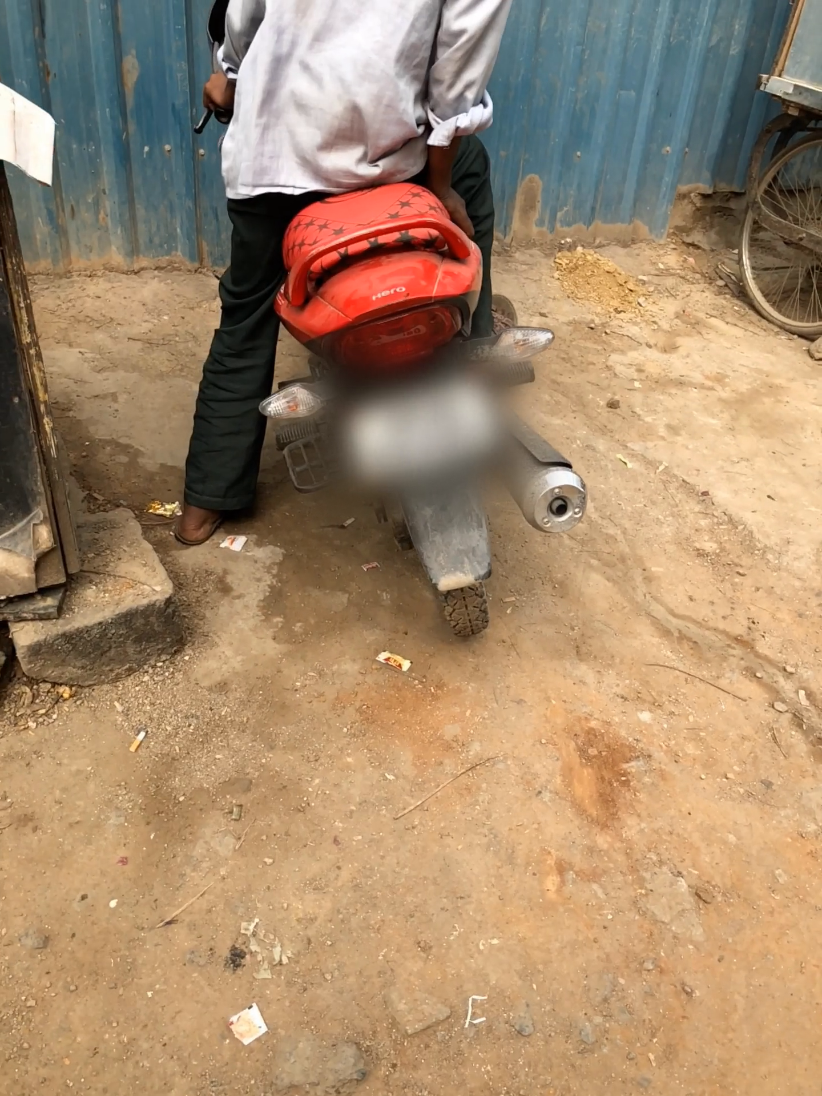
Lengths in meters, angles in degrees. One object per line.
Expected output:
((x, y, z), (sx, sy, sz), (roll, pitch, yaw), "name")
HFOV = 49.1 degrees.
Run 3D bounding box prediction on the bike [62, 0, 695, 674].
((-0.265, -0.823, 1.905), (0.735, 1.129, 1.639), (-4, 40, -15), "bike")
